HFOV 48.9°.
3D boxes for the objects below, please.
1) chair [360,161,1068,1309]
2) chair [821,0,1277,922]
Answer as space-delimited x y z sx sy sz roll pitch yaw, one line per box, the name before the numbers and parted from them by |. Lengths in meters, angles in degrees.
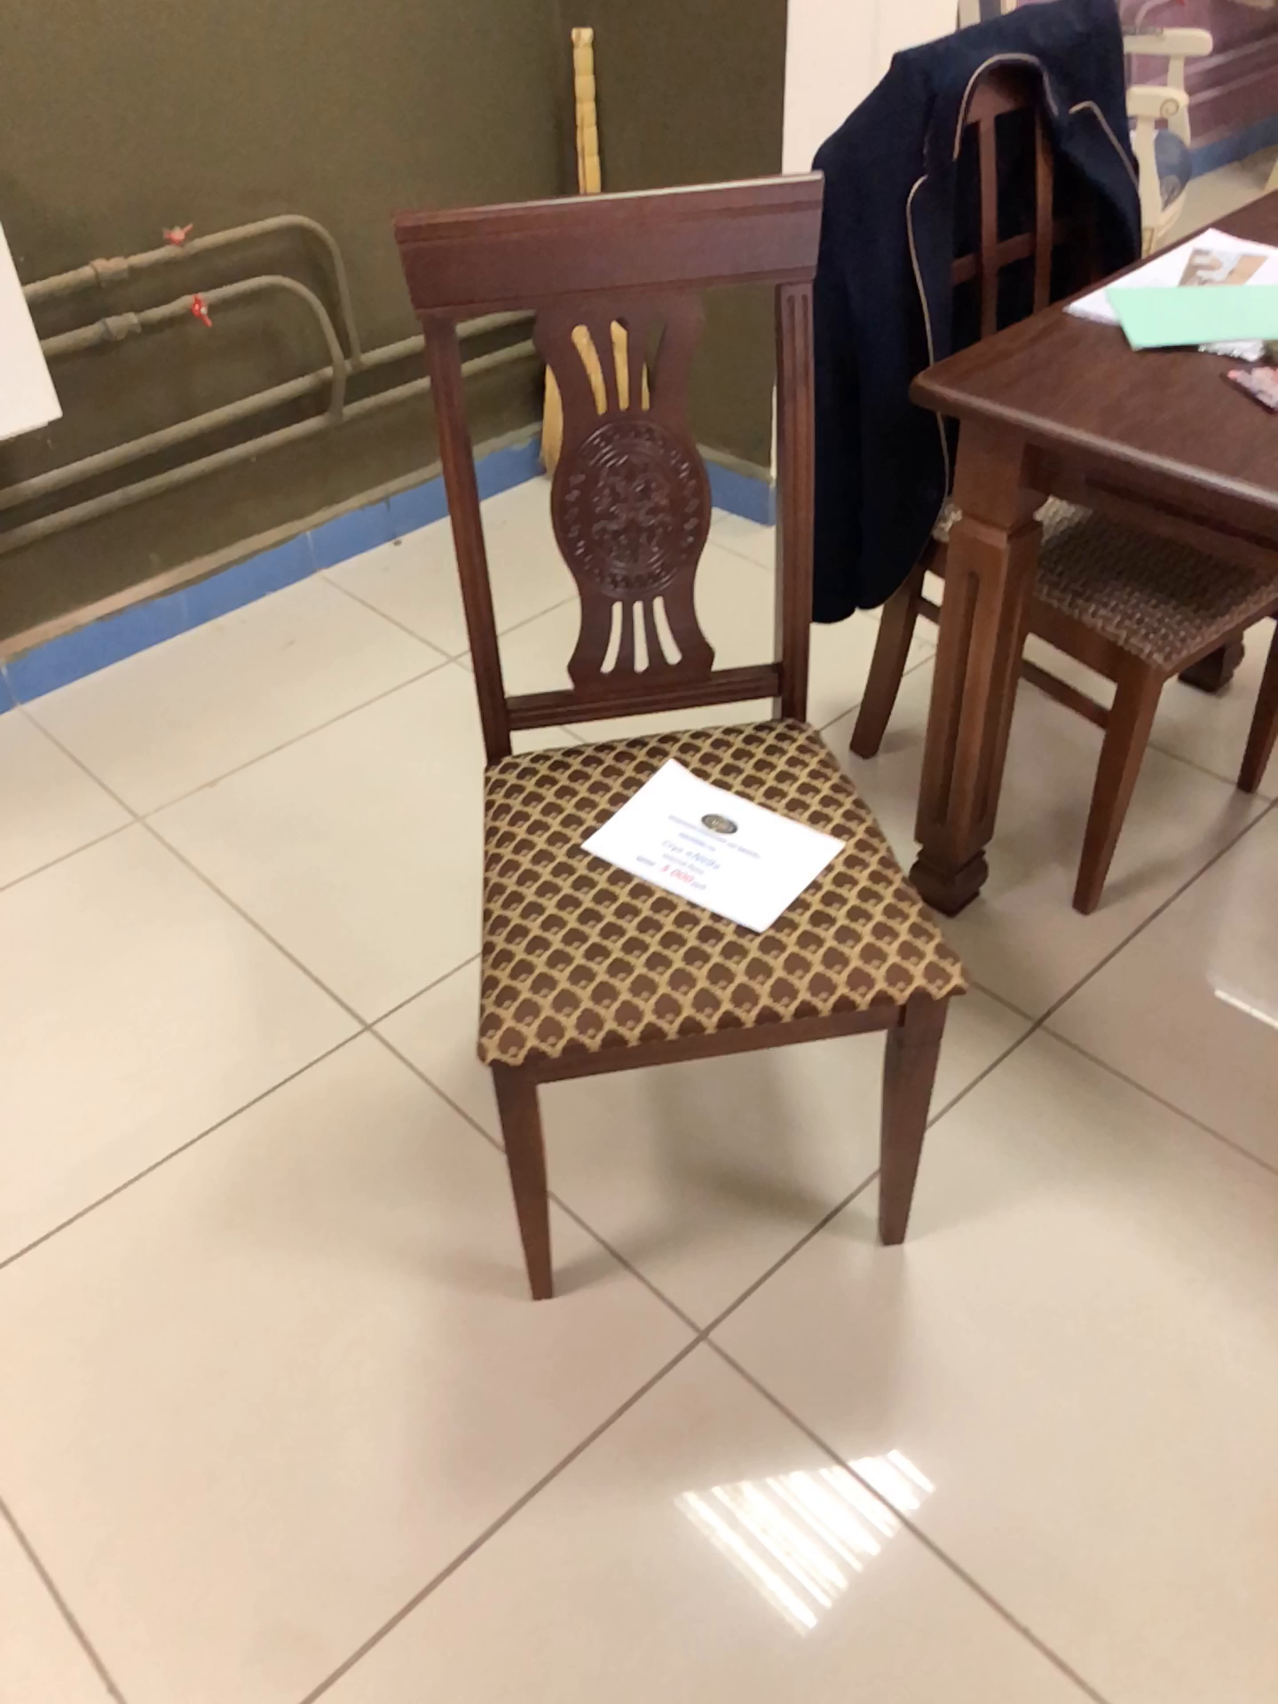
chair | 0.034 -0.069 1.332 0.435 0.935 0.472 -7 40 -5
chair | 0.581 -0.484 1.795 0.431 0.955 0.491 -30 47 -29
